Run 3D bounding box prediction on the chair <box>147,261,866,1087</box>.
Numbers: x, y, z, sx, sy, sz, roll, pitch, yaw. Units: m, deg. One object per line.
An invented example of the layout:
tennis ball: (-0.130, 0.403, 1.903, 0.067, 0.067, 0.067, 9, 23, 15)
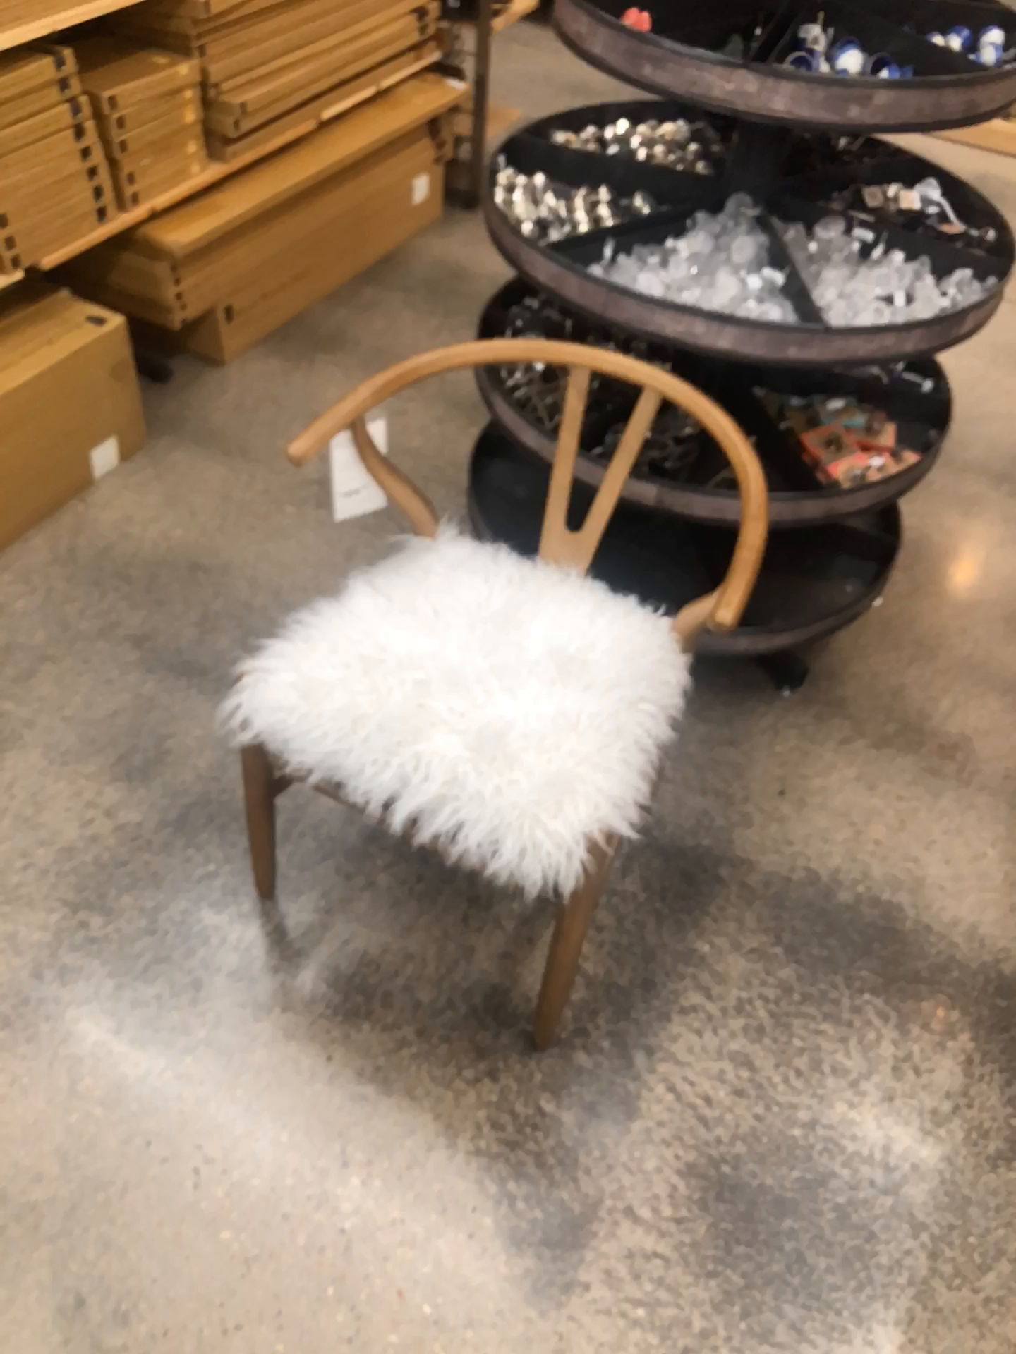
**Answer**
chair: (-0.005, -0.003, 1.431, 0.557, 0.732, 0.530, 26, 49, 19)
